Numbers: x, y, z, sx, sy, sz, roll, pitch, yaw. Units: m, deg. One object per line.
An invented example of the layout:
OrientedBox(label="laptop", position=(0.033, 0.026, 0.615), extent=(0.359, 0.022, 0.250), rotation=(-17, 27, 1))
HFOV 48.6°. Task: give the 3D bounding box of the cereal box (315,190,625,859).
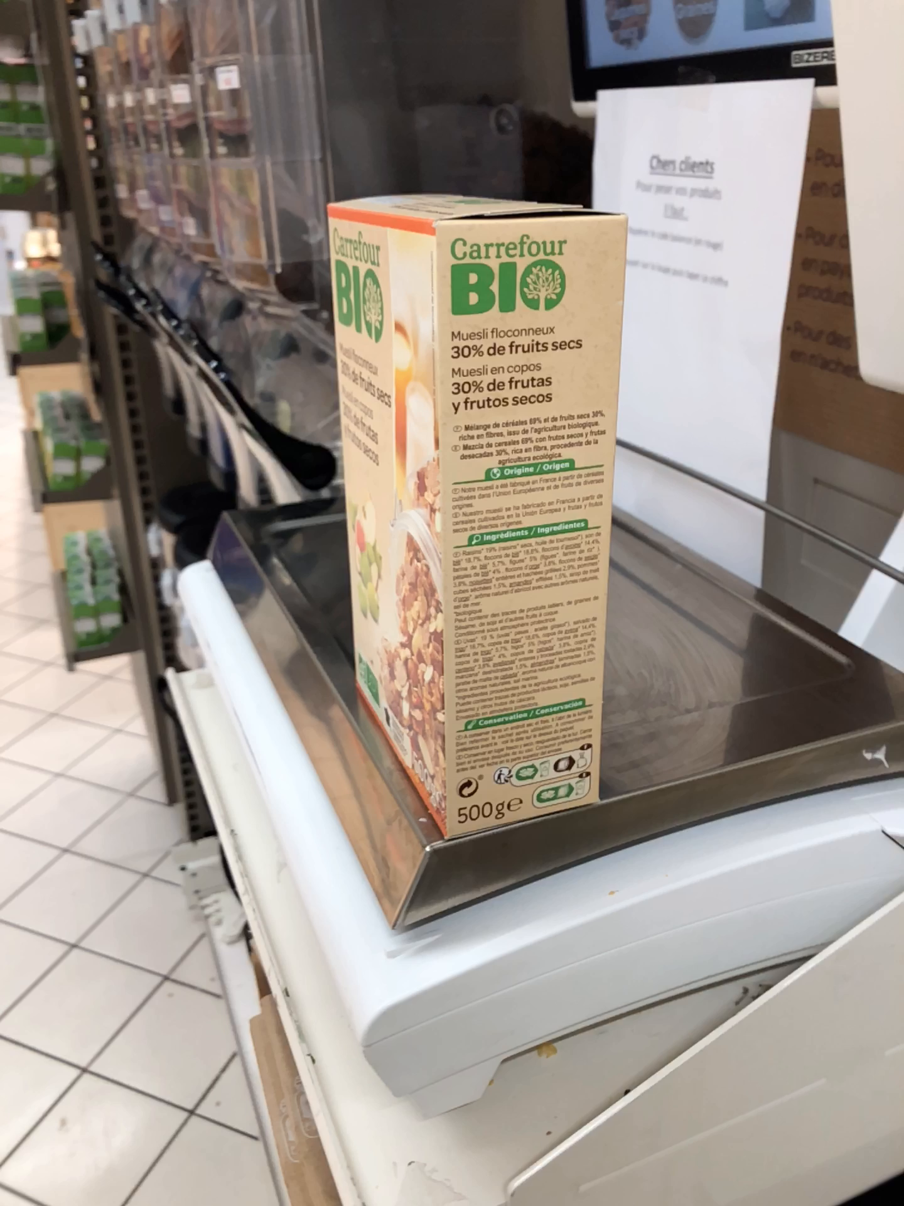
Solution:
OrientedBox(label="cereal box", position=(0.002, -0.037, 0.369), extent=(0.060, 0.209, 0.130), rotation=(-10, 25, -17))
